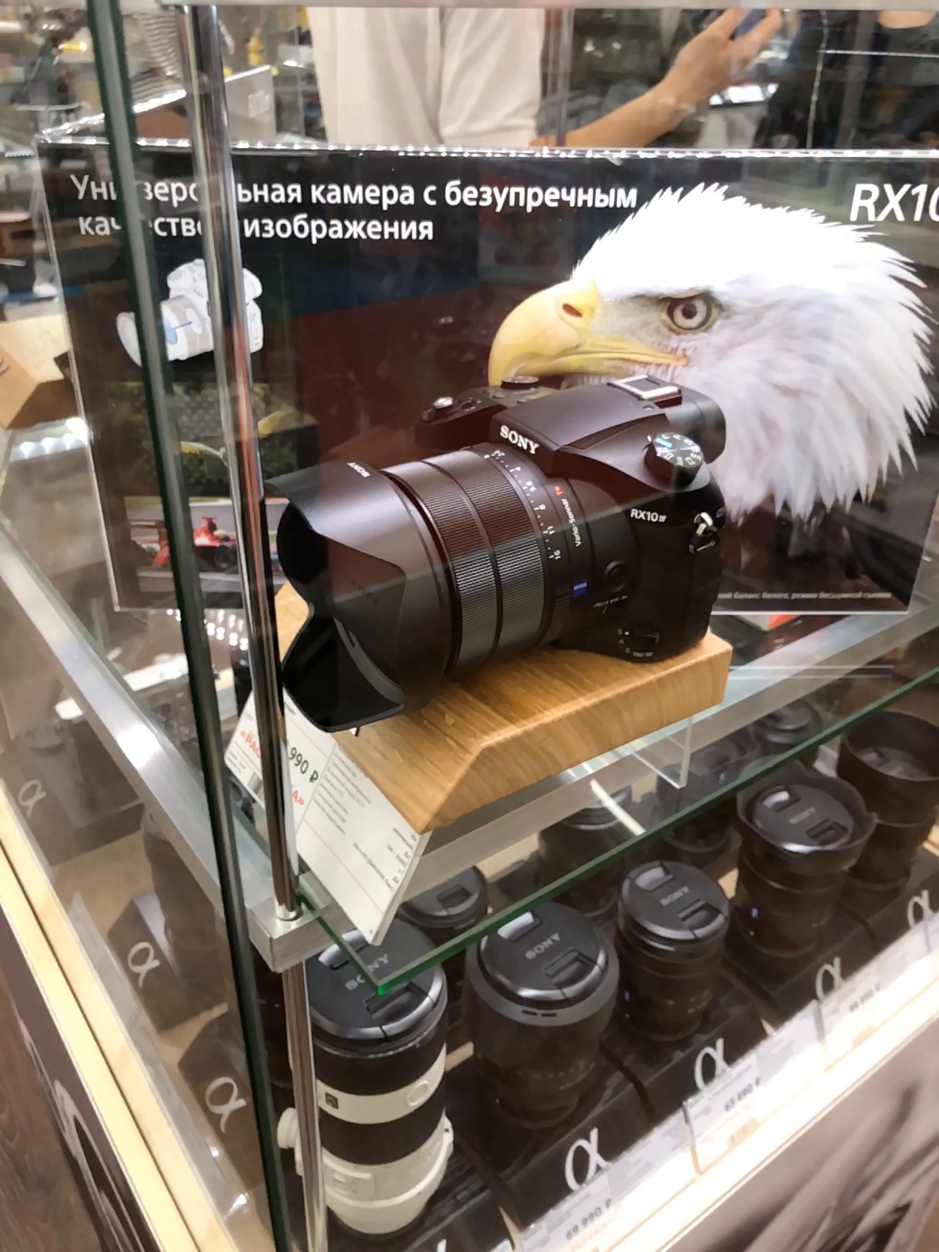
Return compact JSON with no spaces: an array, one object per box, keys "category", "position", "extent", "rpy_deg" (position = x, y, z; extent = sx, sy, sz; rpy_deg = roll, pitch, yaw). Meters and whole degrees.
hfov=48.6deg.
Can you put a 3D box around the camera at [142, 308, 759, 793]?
[{"category":"camera","position":[-0.007,-0.043,0.393],"extent":[0.178,0.099,0.127],"rpy_deg":[-20,37,-30]}]
